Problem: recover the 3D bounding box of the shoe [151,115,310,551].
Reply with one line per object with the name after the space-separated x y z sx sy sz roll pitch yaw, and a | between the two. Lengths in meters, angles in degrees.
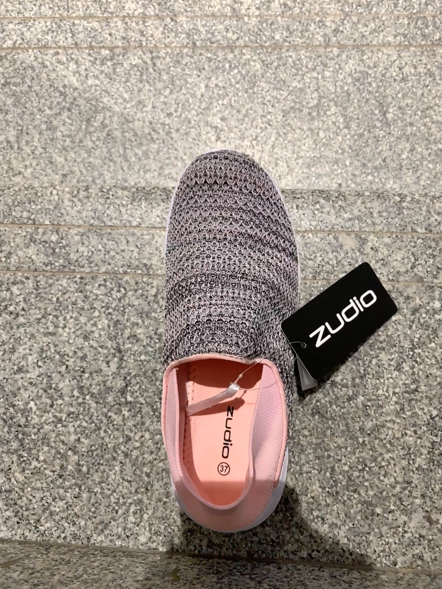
0.009 0.021 0.305 0.090 0.080 0.250 0 87 4 | shoe
